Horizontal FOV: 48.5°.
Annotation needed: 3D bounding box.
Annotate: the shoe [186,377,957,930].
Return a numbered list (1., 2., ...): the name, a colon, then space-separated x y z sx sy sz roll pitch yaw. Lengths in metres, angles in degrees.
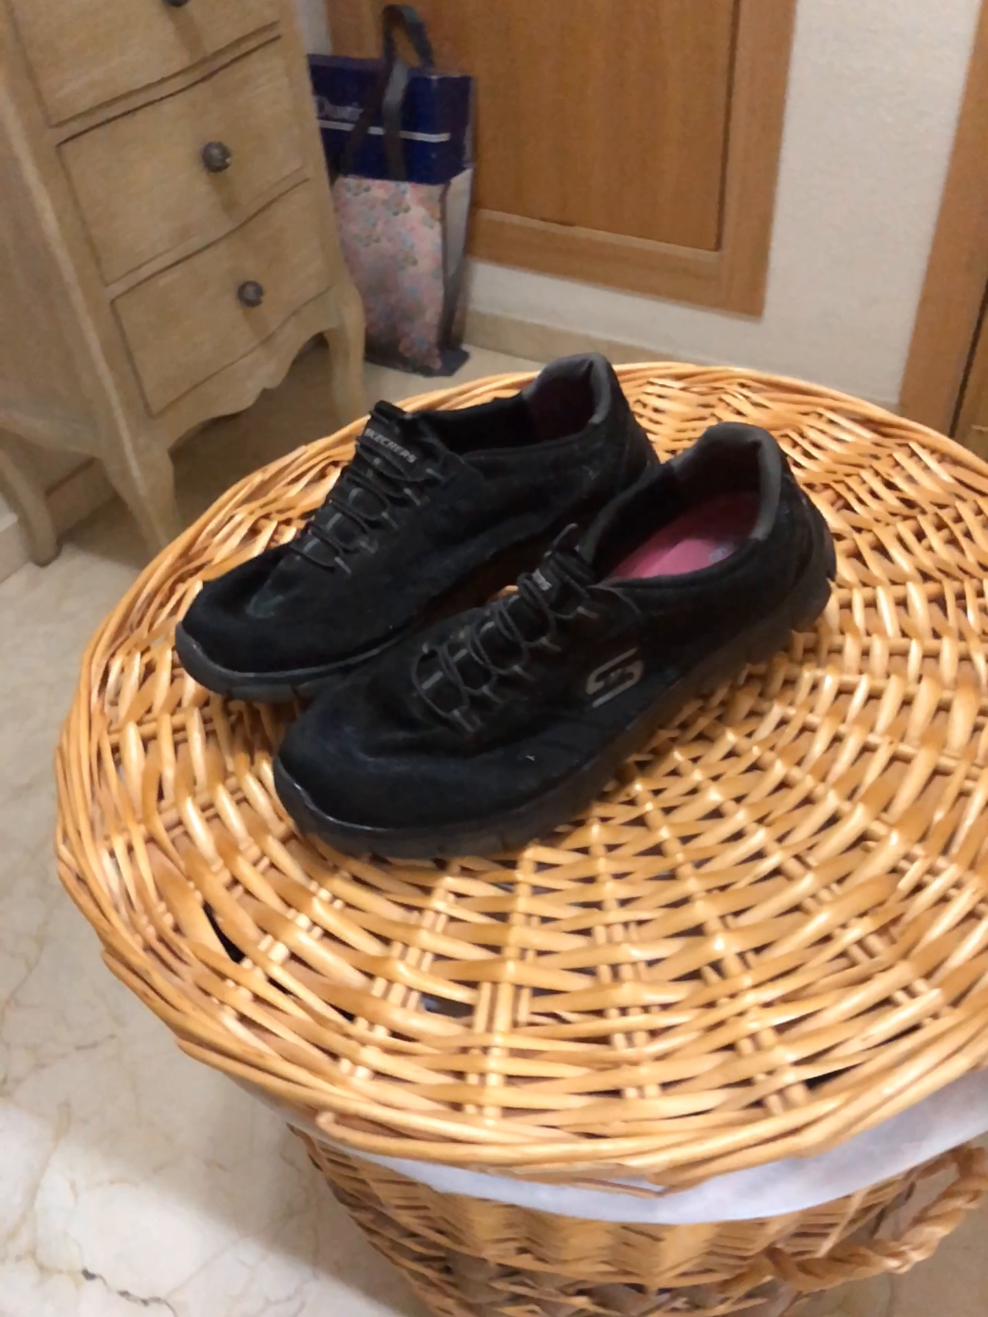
1. shoe: 0.031 -0.014 0.438 0.264 0.079 0.118 -22 46 -16

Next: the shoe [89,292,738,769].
1. shoe: -0.029 -0.072 0.510 0.264 0.079 0.118 -27 48 -21
